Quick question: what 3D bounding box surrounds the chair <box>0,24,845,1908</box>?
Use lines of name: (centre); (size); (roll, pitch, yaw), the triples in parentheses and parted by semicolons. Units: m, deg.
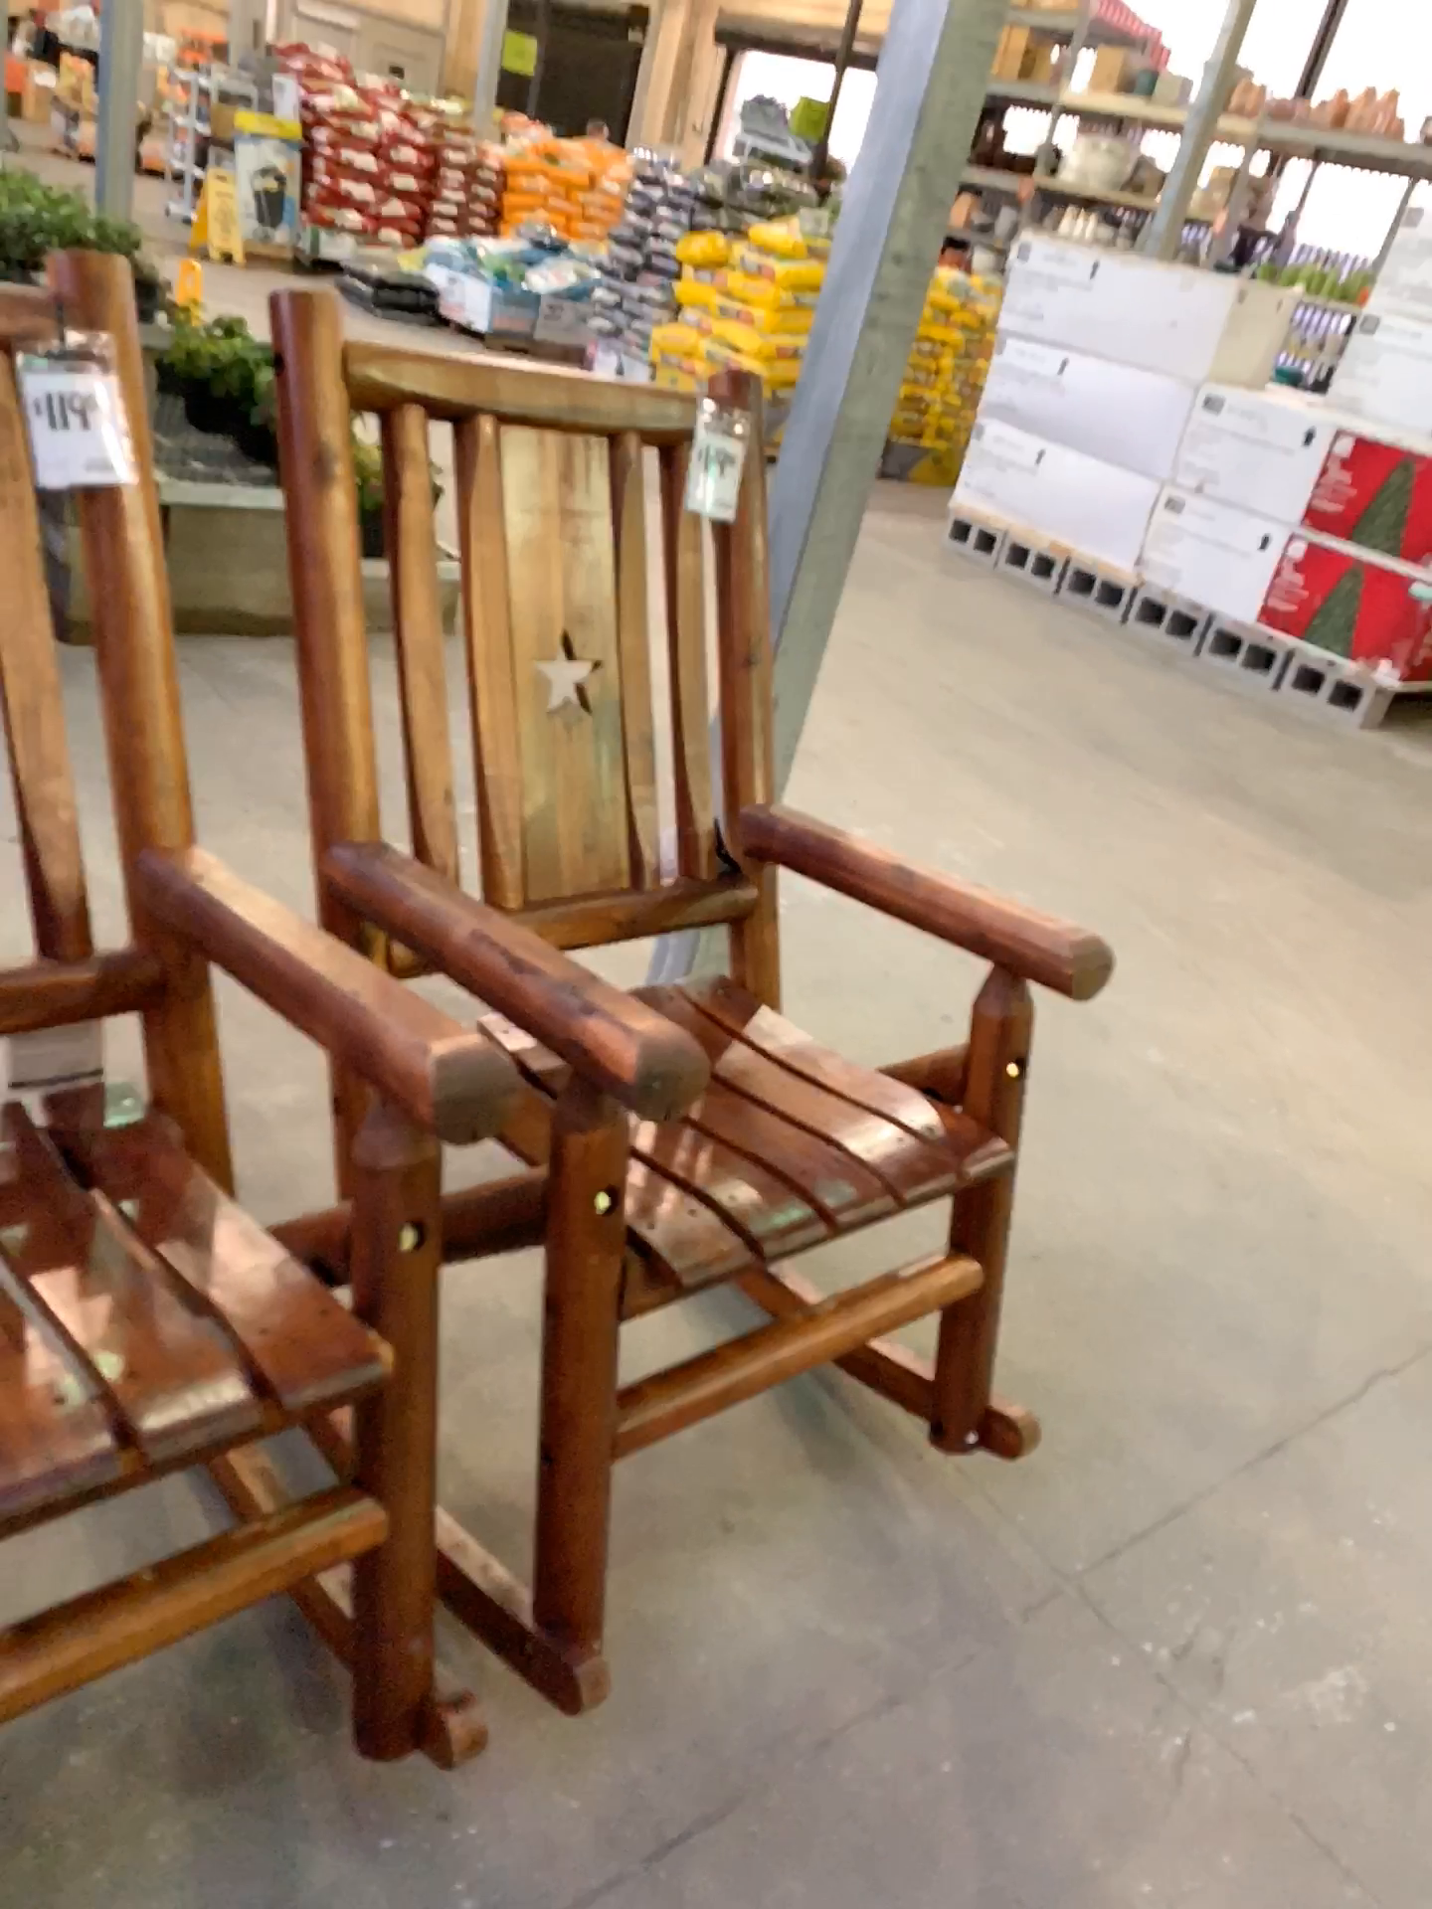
chair: (-0.639, 0.092, 1.115); (0.674, 1.157, 1.021); (-9, 36, -41)

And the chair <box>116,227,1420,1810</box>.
chair: (-0.099, -0.013, 1.589); (0.674, 1.157, 1.020); (-10, 36, -41)
